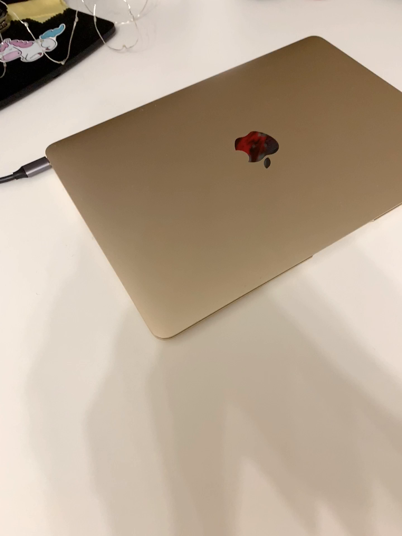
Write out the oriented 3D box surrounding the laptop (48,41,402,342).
[{"bbox_3d":[0.041,-0.082,0.306,0.255,0.009,0.175,-29,61,-15],"label":"laptop"}]
